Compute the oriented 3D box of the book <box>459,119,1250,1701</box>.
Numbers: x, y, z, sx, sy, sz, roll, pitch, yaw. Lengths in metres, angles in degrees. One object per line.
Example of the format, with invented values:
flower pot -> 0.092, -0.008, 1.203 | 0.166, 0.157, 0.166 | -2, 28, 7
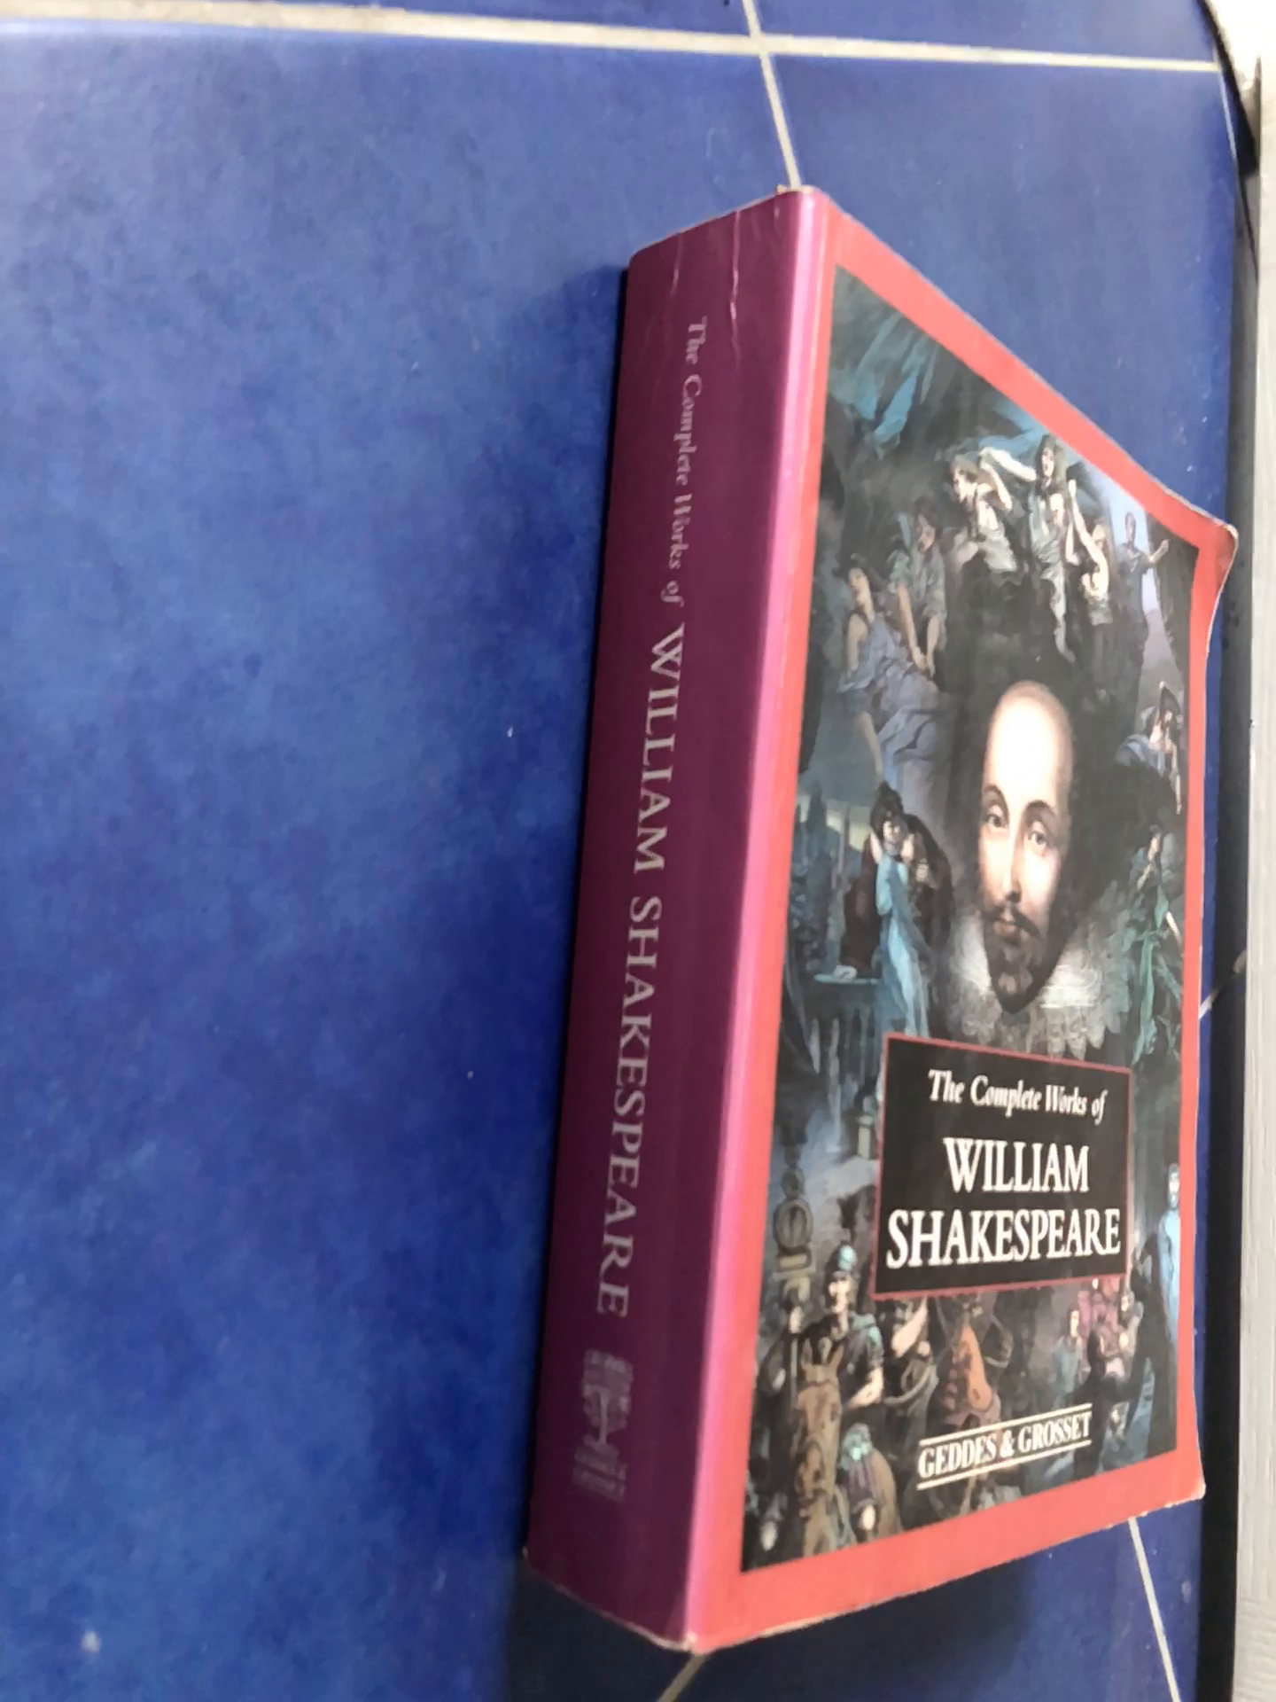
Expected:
book -> 0.073, 0.018, 0.331 | 0.212, 0.060, 0.270 | 15, 76, -45
